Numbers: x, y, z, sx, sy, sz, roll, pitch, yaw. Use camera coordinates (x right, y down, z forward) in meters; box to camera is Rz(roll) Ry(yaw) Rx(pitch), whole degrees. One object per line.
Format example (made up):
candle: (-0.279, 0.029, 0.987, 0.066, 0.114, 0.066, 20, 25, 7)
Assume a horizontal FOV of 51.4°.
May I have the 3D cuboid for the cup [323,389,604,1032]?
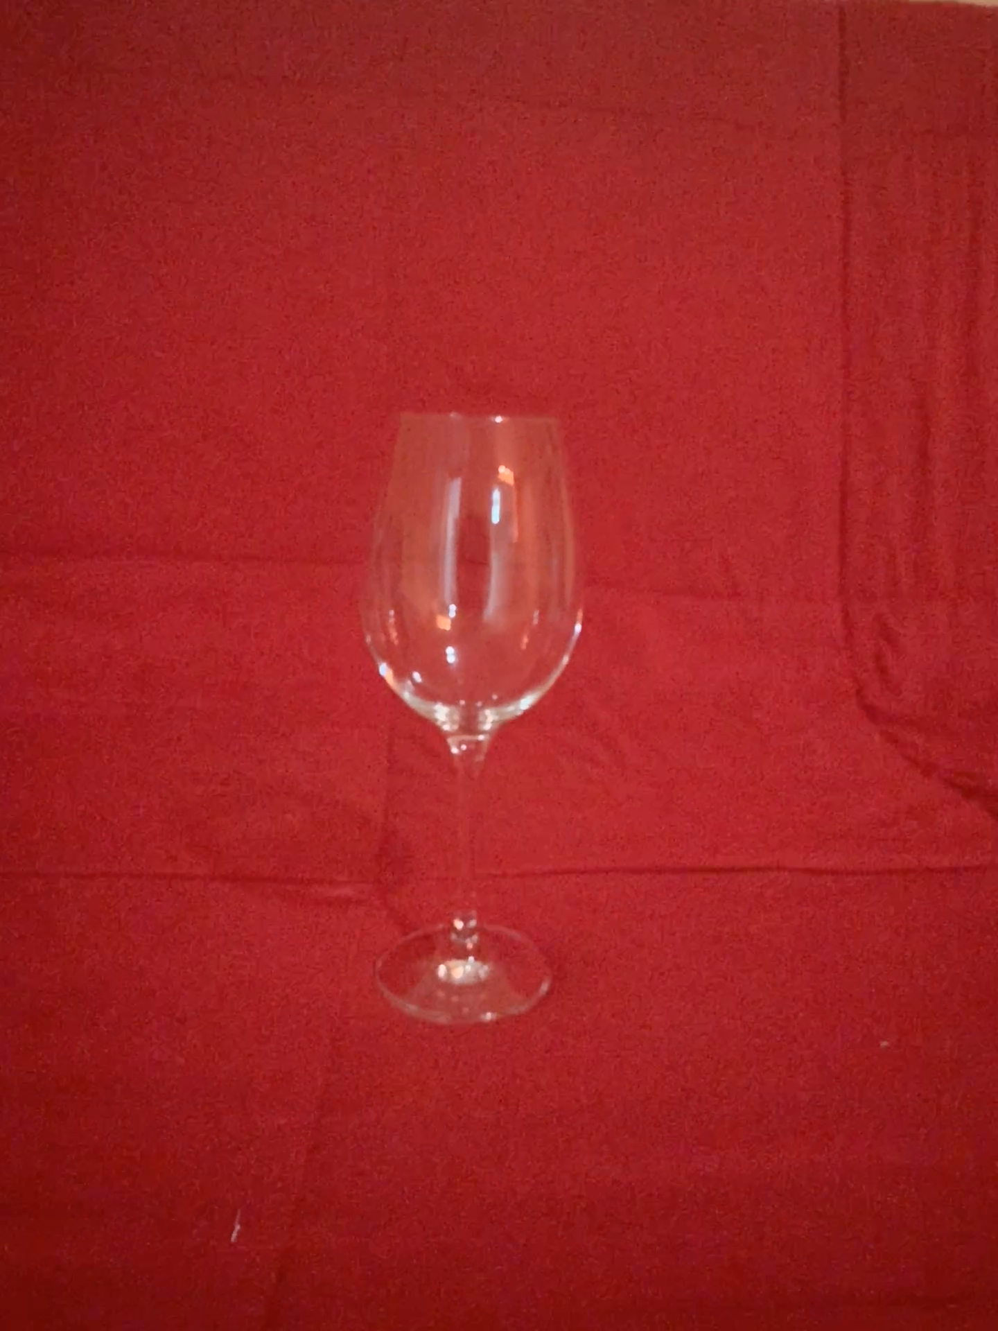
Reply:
cup: (-0.015, 0.017, 0.423, 0.094, 0.246, 0.083, 1, 17, -1)
